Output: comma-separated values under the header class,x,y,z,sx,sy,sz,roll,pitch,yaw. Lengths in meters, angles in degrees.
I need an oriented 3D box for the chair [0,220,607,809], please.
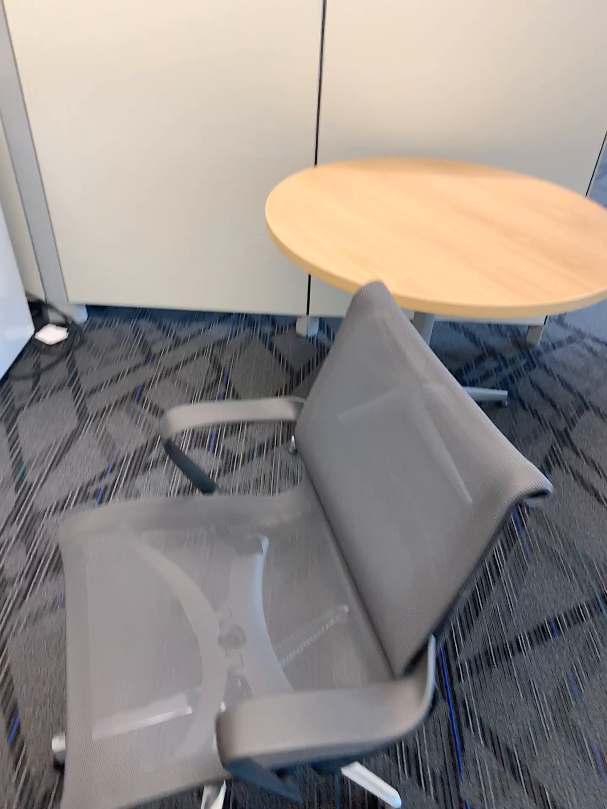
class,x,y,z,sx,sy,sz,roll,pitch,yaw
chair,-0.161,0.255,0.908,0.701,0.753,0.686,-10,40,-15
